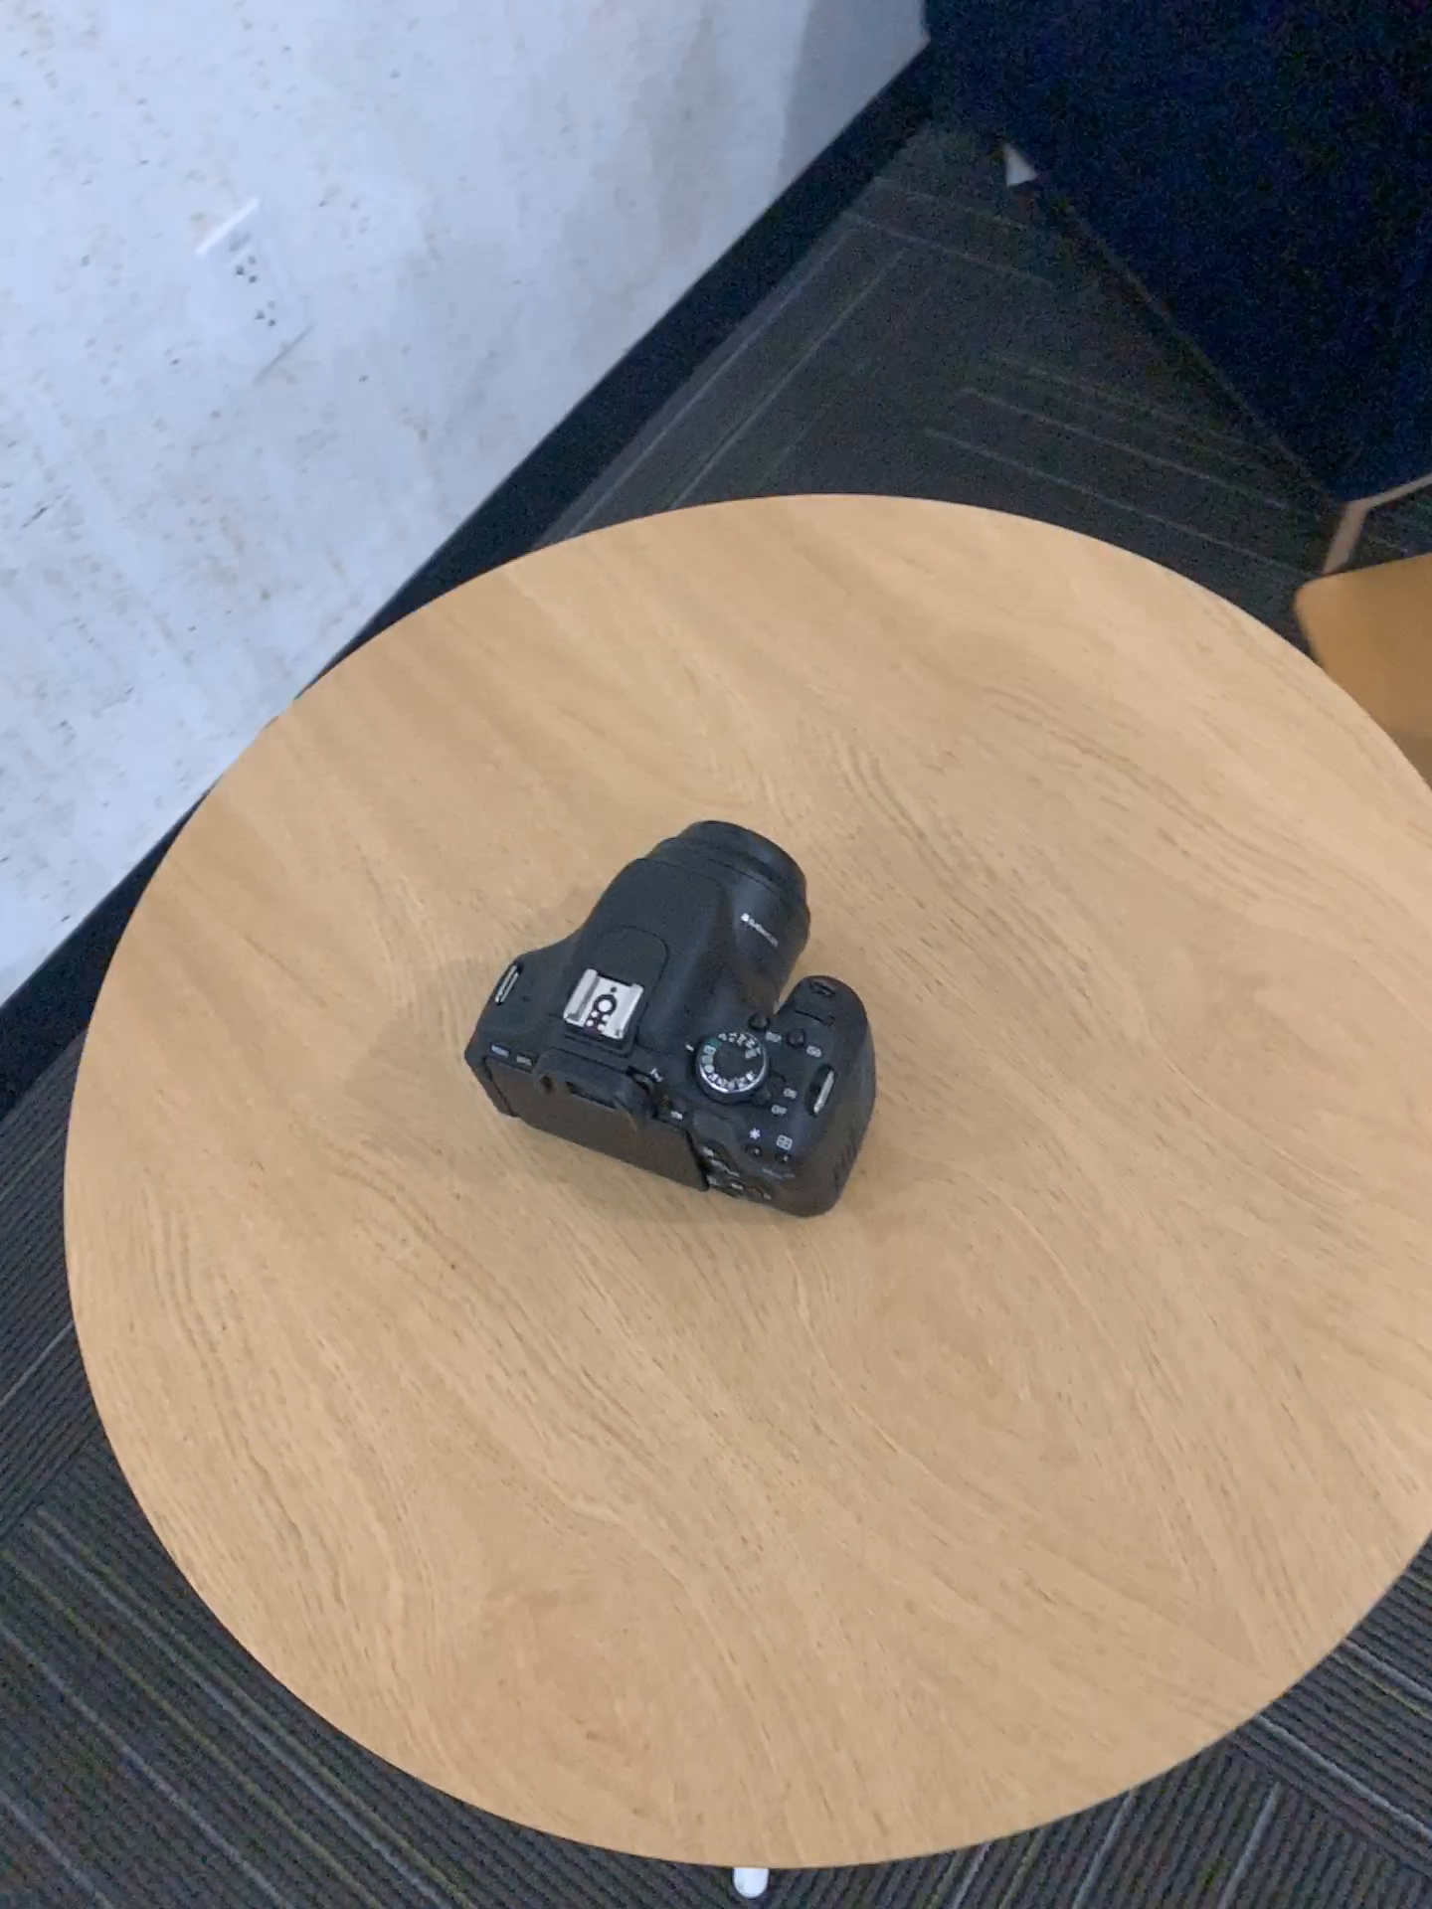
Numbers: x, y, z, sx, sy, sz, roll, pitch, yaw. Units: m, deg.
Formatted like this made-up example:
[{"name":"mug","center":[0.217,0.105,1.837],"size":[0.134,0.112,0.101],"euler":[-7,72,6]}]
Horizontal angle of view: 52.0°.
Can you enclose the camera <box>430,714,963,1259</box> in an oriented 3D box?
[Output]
[{"name":"camera","center":[0.001,0.011,0.502],"size":[0.130,0.100,0.120],"euler":[18,65,17]}]
